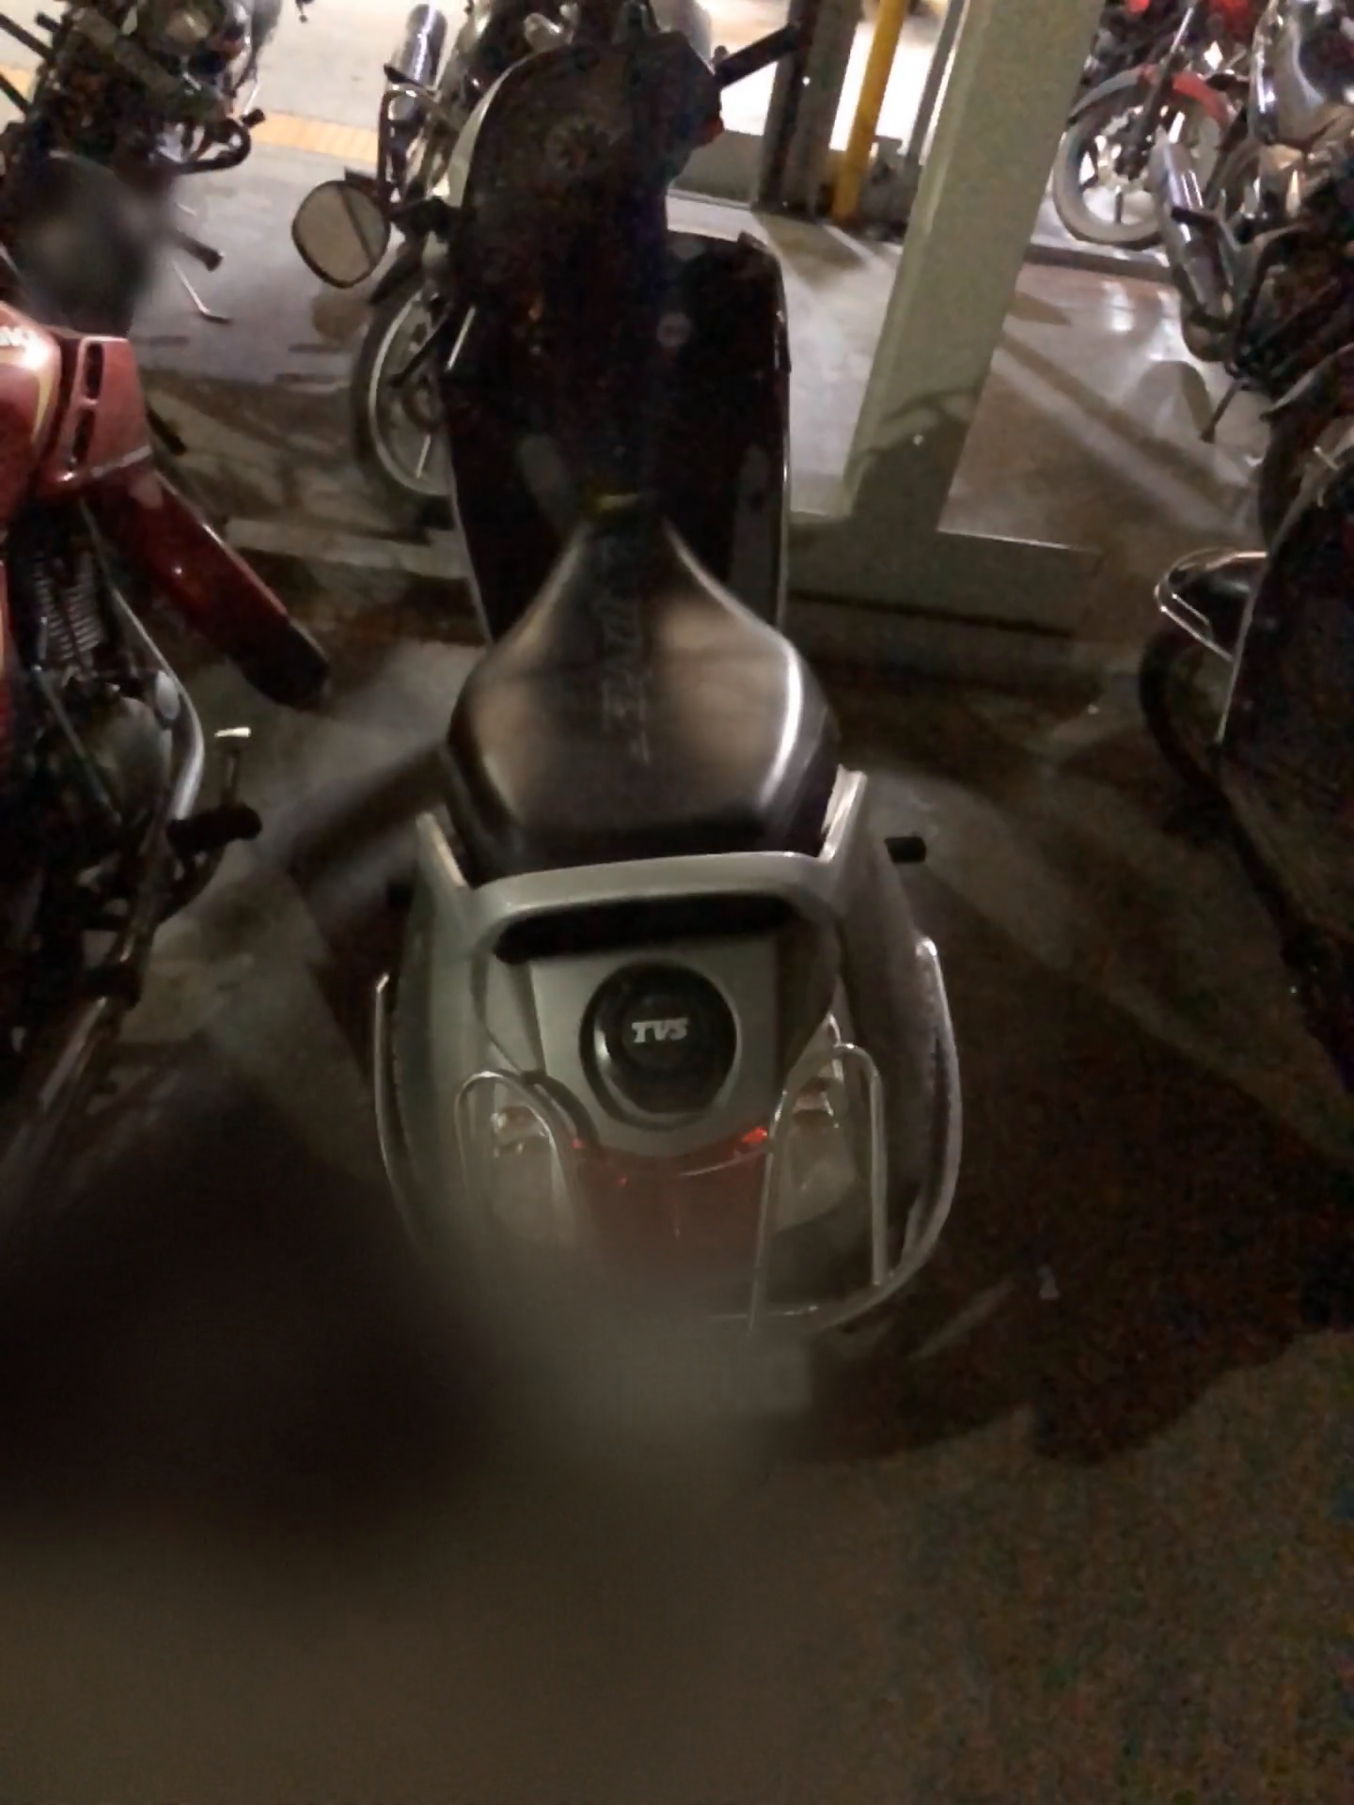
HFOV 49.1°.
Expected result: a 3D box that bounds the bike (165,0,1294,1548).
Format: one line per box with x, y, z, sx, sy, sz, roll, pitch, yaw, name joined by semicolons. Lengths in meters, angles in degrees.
-0.097;-0.224;1.644;0.602;1.094;1.388;4;42;-10;bike
